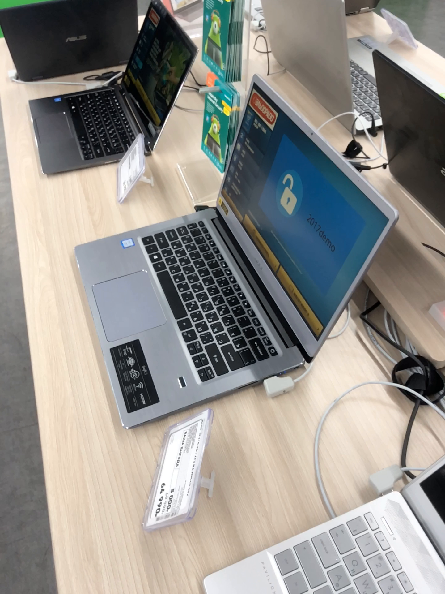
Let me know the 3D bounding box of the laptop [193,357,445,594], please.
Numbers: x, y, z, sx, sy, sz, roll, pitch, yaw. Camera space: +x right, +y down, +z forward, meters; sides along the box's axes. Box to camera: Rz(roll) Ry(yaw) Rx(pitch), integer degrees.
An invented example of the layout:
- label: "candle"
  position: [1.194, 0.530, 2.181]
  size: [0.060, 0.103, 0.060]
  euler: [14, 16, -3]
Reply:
- label: "laptop"
  position: [0.186, 0.258, 0.315]
  size: [0.322, 0.164, 0.306]
  euler: [-19, 50, -10]

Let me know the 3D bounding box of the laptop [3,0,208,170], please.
- label: "laptop"
  position: [-0.226, -0.424, 0.939]
  size: [0.311, 0.159, 0.280]
  euler: [-17, 50, -9]

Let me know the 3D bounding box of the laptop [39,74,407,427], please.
- label: "laptop"
  position: [-0.023, -0.076, 0.603]
  size: [0.302, 0.197, 0.316]
  euler: [-18, 50, -11]
